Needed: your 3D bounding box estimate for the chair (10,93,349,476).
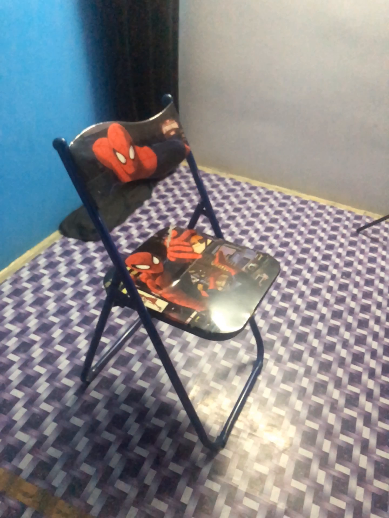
[{"bbox_3d":[-0.021,0.026,1.112,0.560,0.686,0.513,19,36,17],"label":"chair"}]
